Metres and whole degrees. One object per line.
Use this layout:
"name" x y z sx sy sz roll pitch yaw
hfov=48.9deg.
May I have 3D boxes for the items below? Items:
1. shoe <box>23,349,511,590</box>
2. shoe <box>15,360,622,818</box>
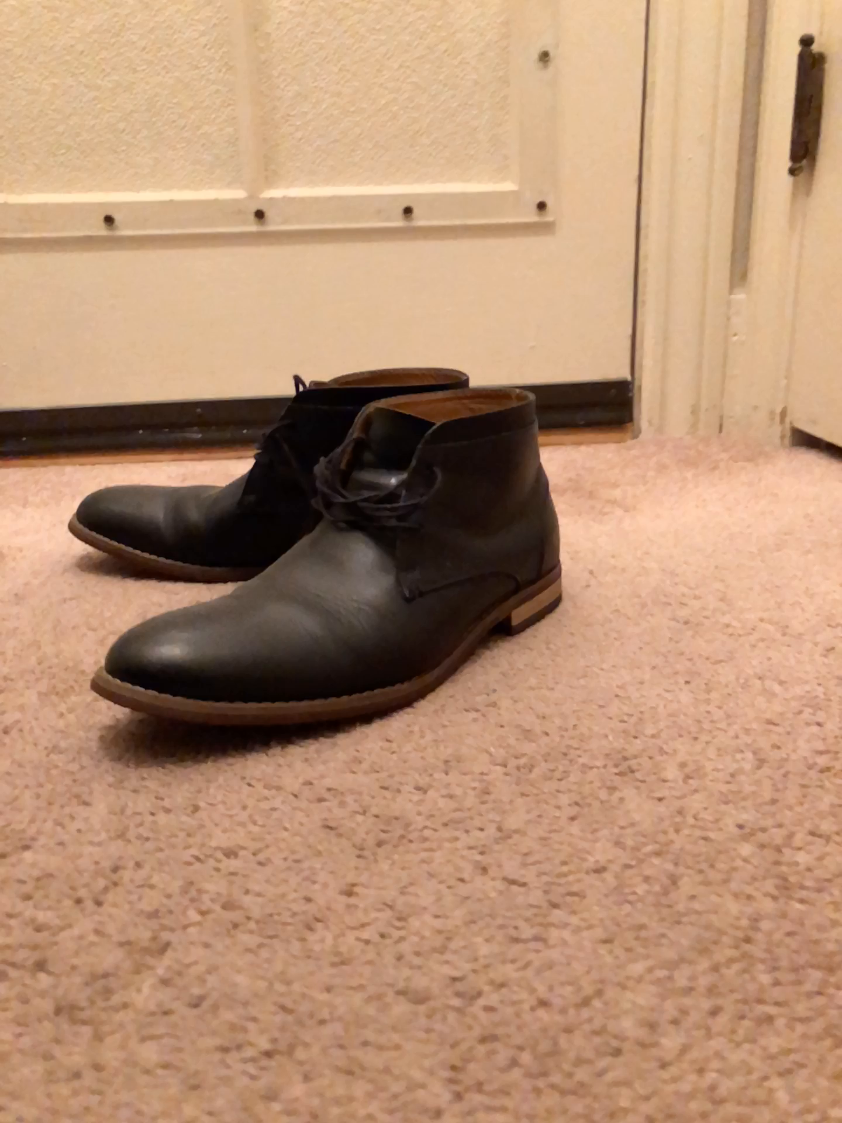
"shoe" -0.095 -0.070 0.651 0.302 0.135 0.117 -2 18 -1
"shoe" -0.025 -0.017 0.479 0.116 0.135 0.303 13 24 38
